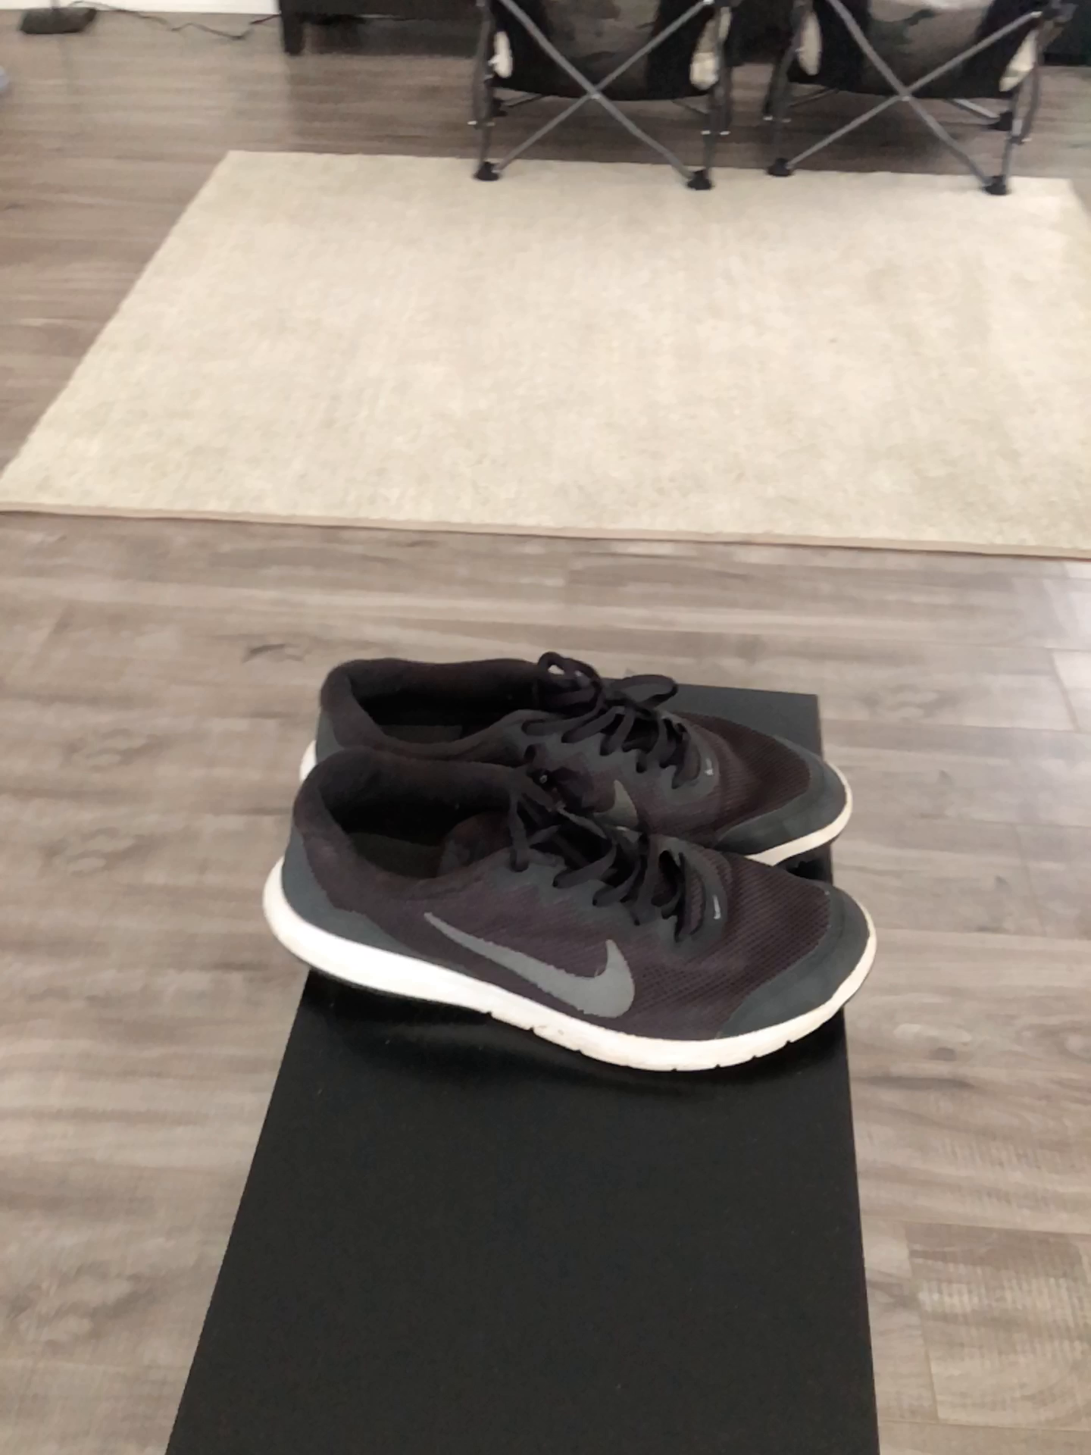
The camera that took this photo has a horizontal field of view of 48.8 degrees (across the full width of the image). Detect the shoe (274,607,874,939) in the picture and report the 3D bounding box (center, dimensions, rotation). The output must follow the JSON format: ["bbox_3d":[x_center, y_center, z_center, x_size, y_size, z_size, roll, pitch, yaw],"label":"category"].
[{"bbox_3d":[0.014,0.023,0.637,0.280,0.110,0.110,4,44,2],"label":"shoe"}]

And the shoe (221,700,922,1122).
[{"bbox_3d":[0.012,0.081,0.549,0.280,0.100,0.110,9,44,4],"label":"shoe"}]
